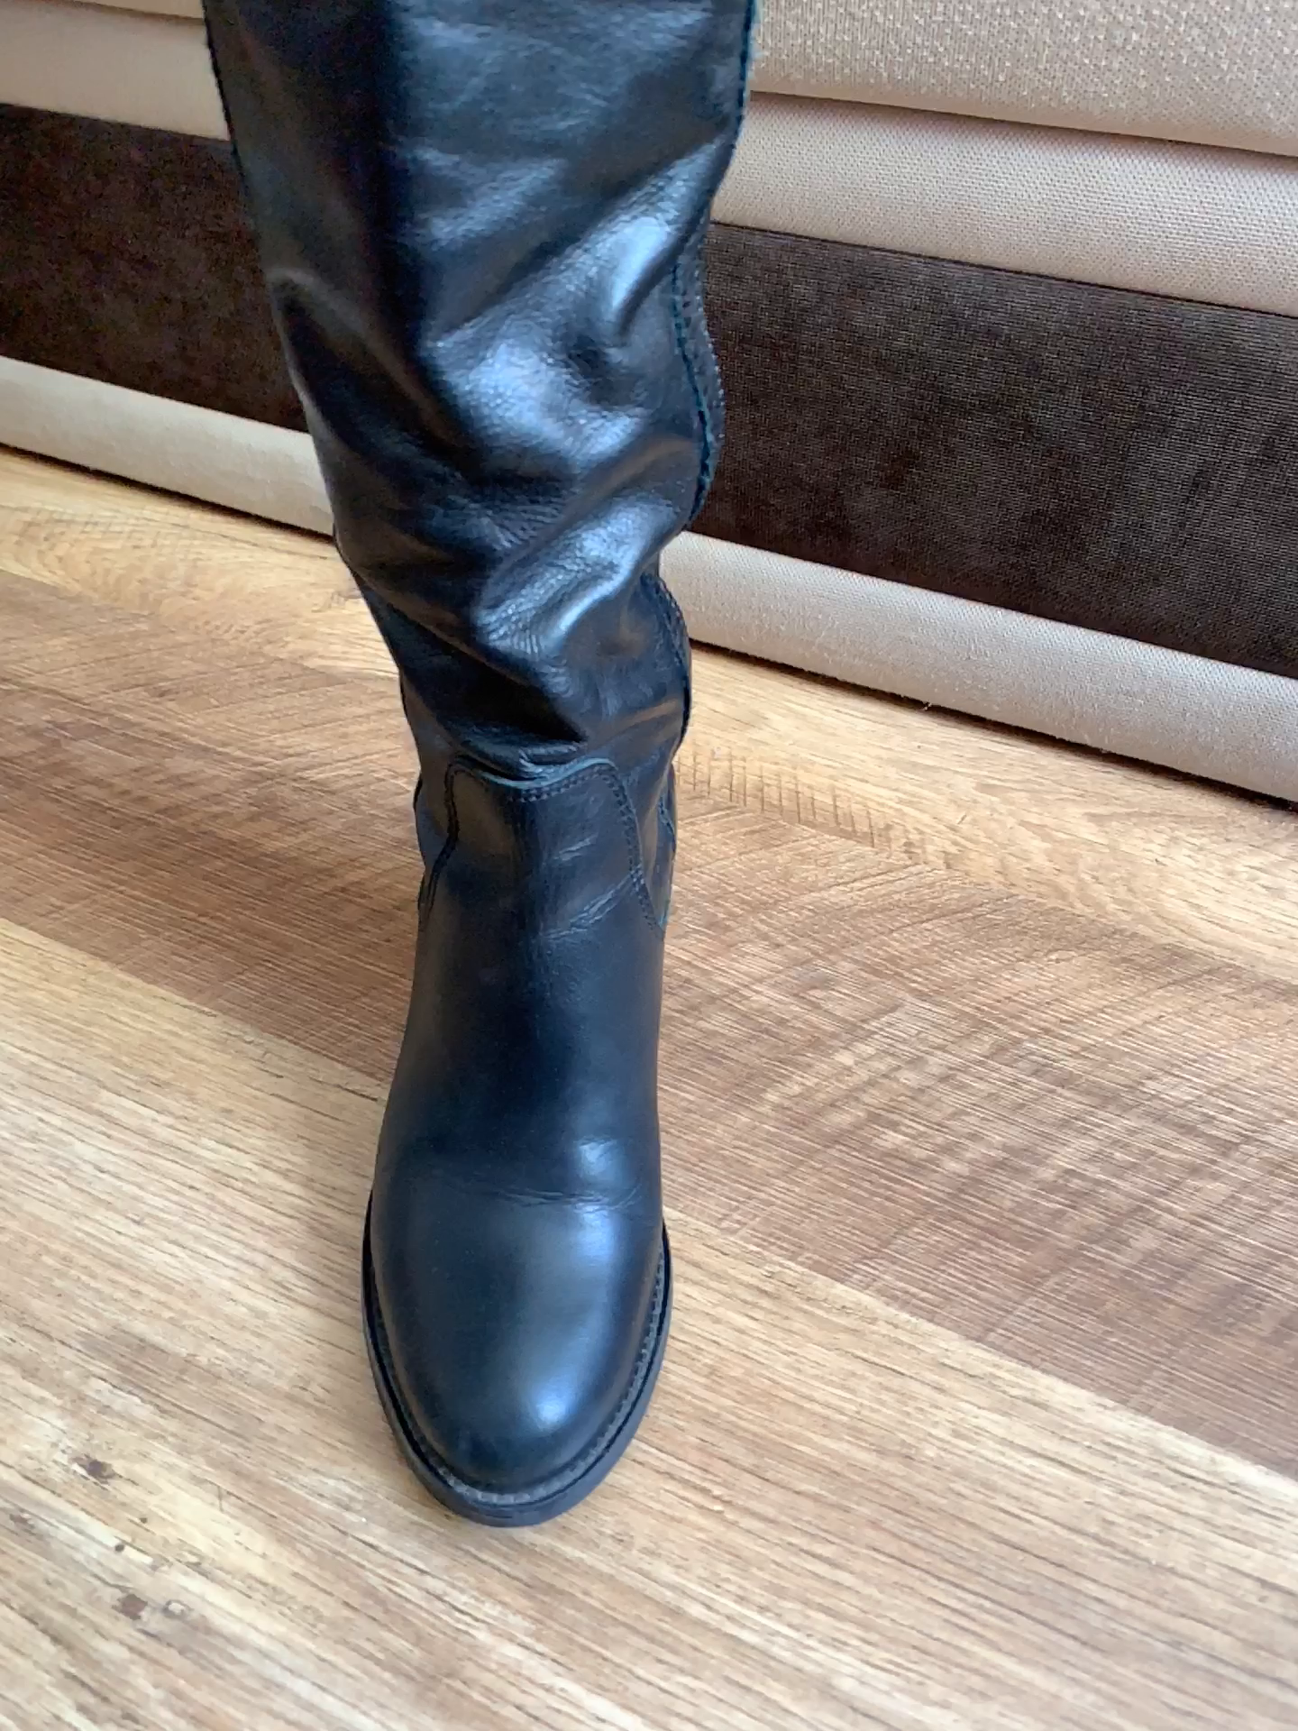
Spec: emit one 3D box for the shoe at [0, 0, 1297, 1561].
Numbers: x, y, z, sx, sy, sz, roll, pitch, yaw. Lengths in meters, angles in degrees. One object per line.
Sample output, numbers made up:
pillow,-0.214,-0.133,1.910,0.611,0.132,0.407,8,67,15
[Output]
shoe,-0.016,-0.101,0.226,0.100,0.497,0.211,3,40,0
